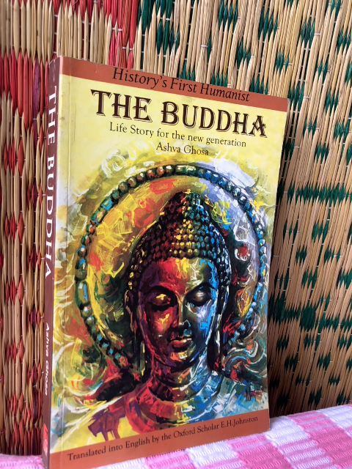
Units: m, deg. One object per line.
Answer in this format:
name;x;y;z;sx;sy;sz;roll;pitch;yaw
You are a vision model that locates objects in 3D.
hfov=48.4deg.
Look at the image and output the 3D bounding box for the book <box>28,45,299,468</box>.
book;-0.003;0.017;0.225;0.146;0.207;0.030;1;3;-23
